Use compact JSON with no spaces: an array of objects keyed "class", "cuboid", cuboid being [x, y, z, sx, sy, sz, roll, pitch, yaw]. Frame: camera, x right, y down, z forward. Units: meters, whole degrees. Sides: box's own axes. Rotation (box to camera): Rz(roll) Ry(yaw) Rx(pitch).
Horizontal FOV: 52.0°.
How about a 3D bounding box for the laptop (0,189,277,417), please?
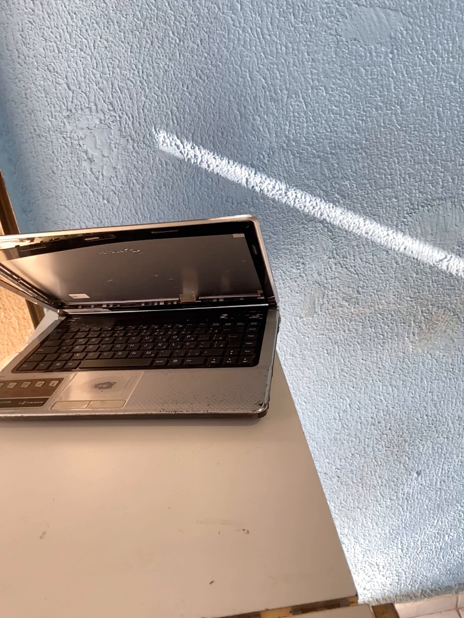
[{"class":"laptop","cuboid":[-0.125,-0.017,0.552,0.325,0.160,0.233,-3,24,11]}]
